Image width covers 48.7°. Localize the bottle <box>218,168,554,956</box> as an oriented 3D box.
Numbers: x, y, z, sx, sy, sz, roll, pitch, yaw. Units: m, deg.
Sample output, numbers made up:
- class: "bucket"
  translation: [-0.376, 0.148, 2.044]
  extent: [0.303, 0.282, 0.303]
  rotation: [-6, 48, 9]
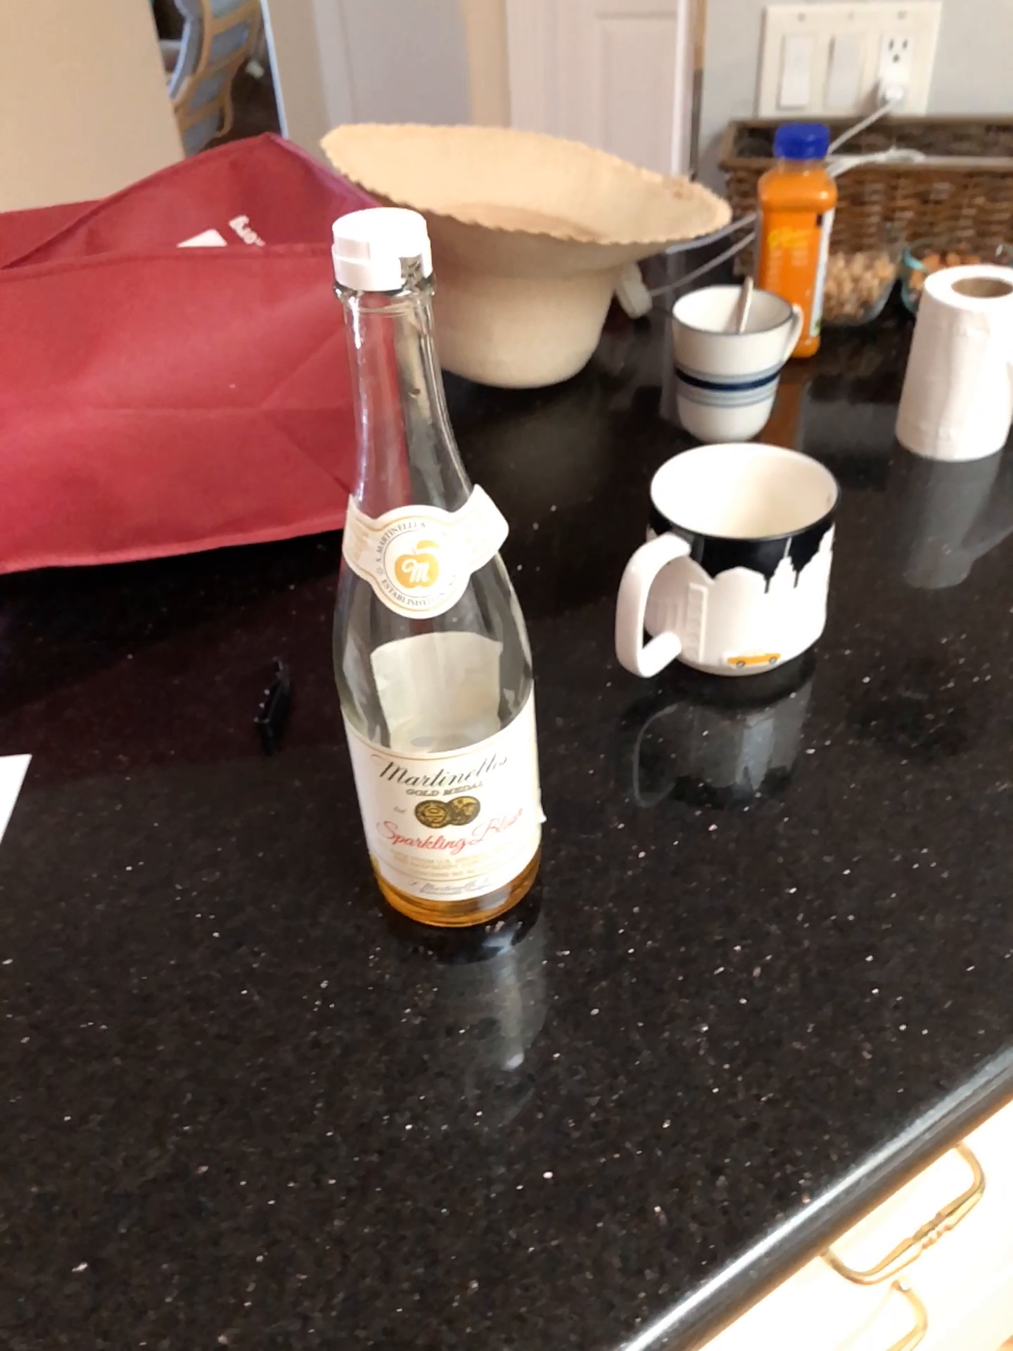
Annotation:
- class: "bottle"
  translation: [-0.032, -0.023, 0.474]
  extent: [0.093, 0.329, 0.101]
  rotation: [-2, 41, 2]
